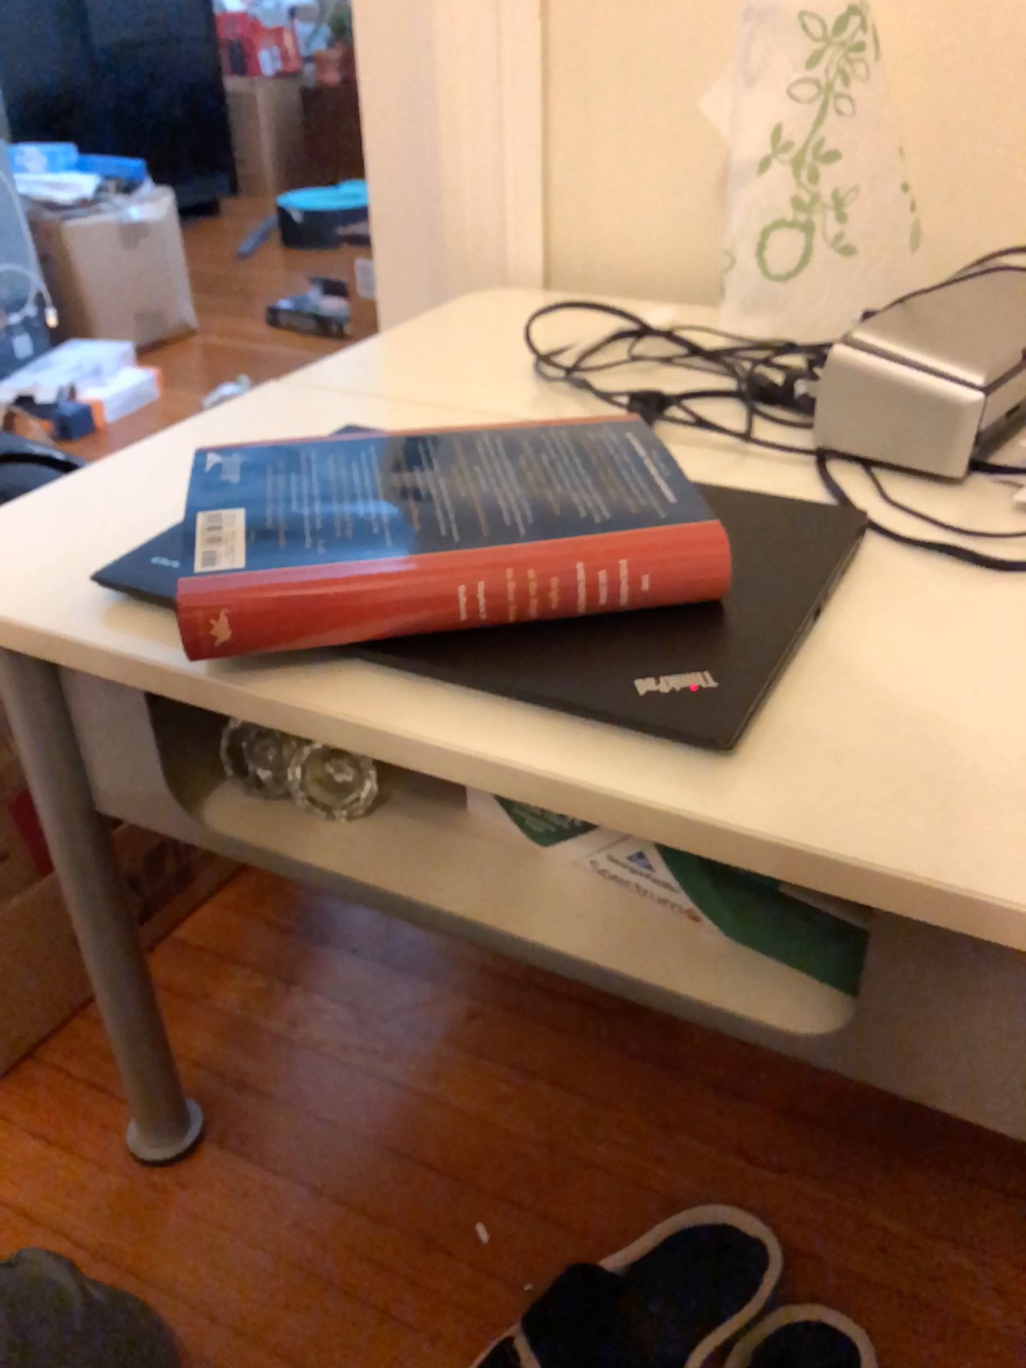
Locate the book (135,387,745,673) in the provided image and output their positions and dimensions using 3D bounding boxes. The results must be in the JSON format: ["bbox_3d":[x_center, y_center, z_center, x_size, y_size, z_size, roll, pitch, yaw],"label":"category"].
[{"bbox_3d":[-0.037,-0.081,0.527,0.240,0.040,0.171,-8,31,-6],"label":"book"}]
